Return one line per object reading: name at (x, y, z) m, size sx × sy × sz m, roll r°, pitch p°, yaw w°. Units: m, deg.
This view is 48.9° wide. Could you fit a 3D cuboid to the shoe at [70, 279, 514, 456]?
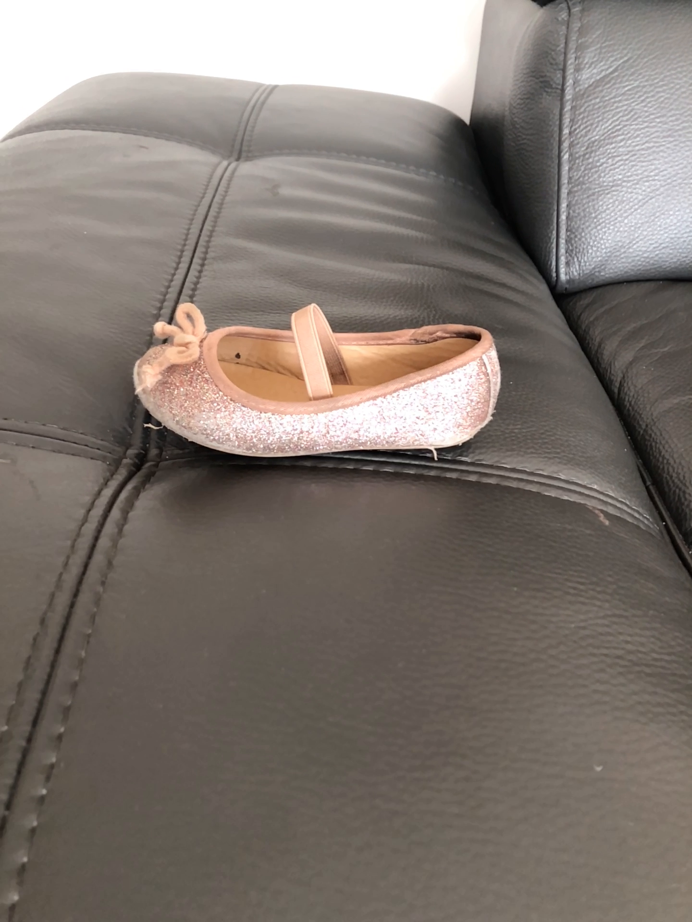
shoe at (-0.021, -0.041, 0.314) m, size 0.160 × 0.040 × 0.070 m, roll -1°, pitch 39°, yaw -4°
